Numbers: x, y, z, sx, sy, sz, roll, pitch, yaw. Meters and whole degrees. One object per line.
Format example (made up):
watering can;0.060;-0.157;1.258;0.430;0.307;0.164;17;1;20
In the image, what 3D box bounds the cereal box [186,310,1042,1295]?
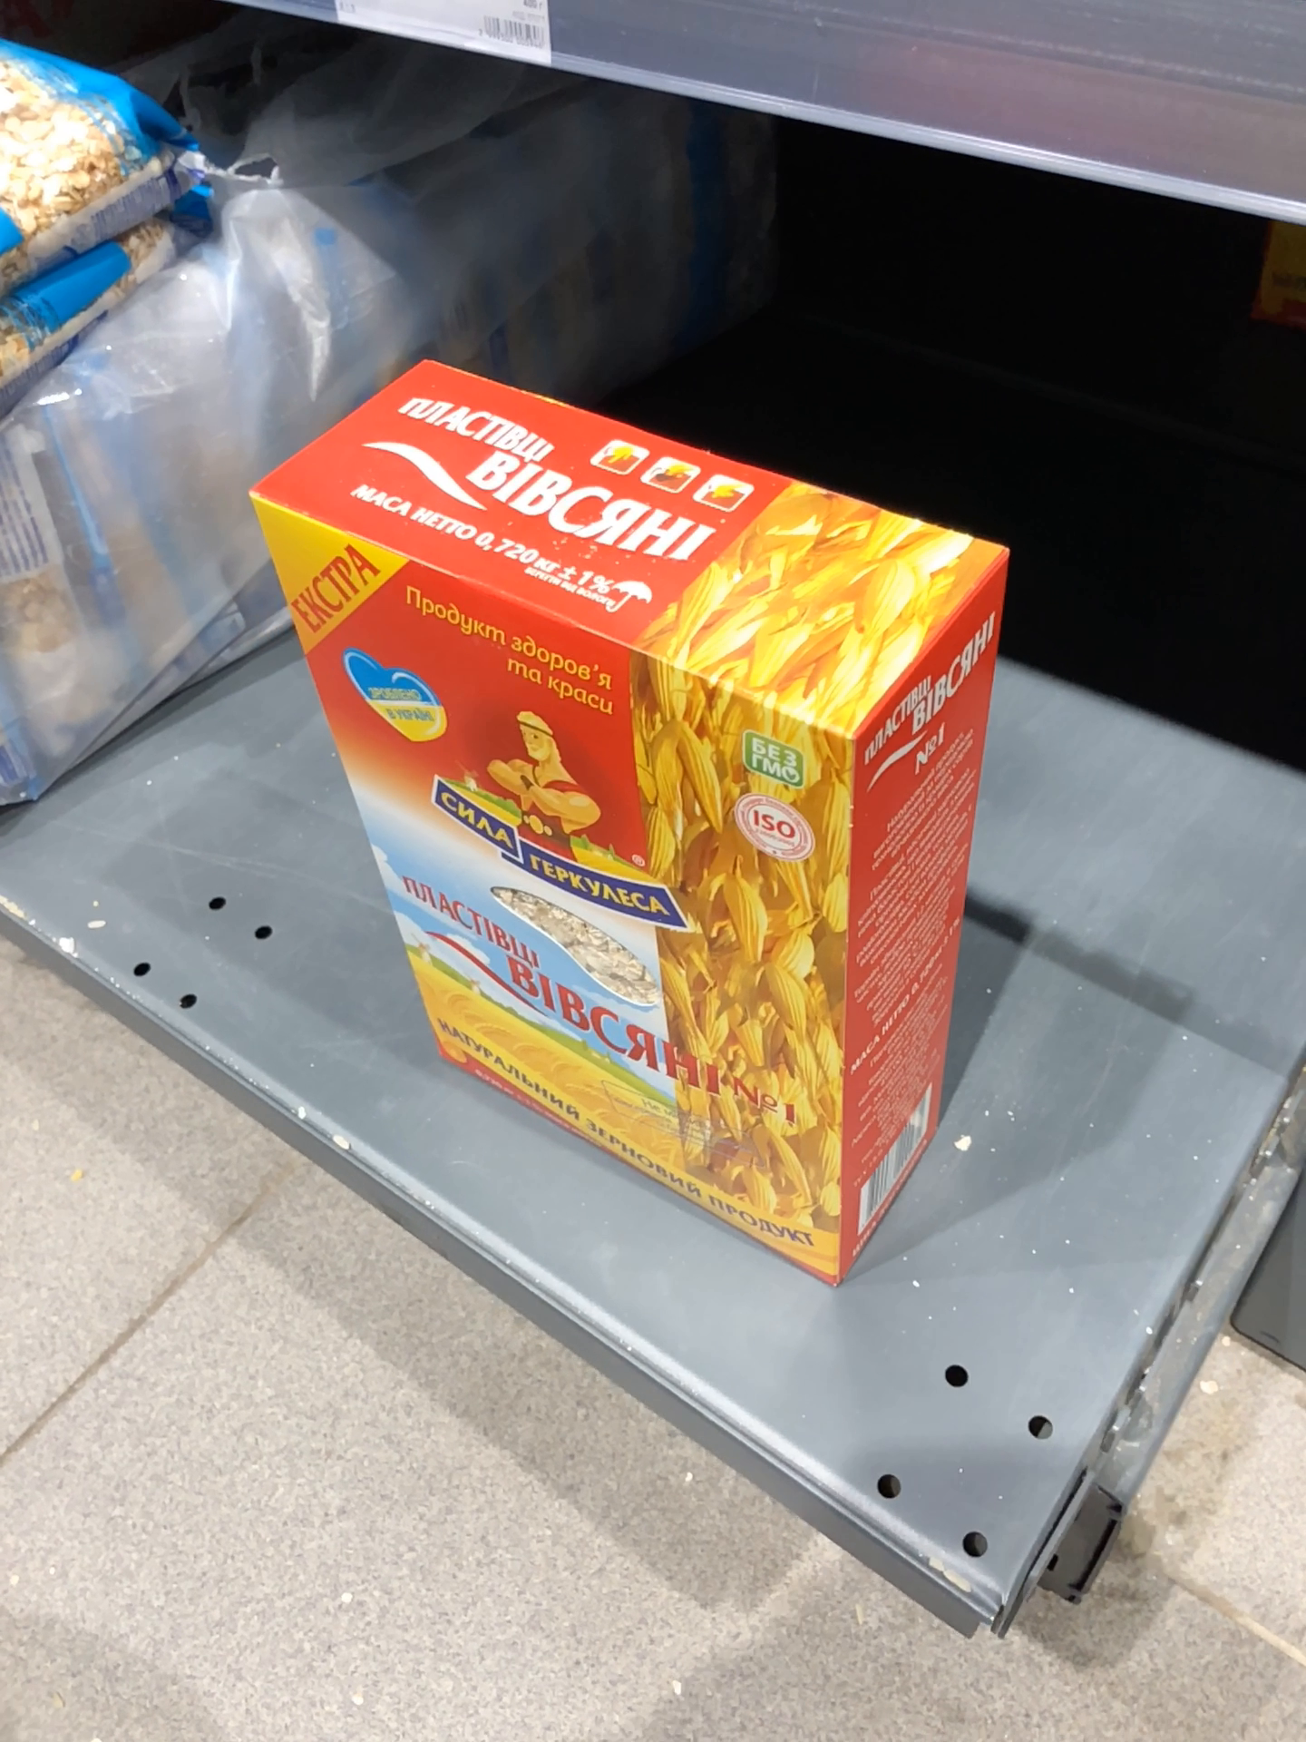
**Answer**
cereal box;-0.005;-0.009;0.365;0.160;0.208;0.070;25;55;25
